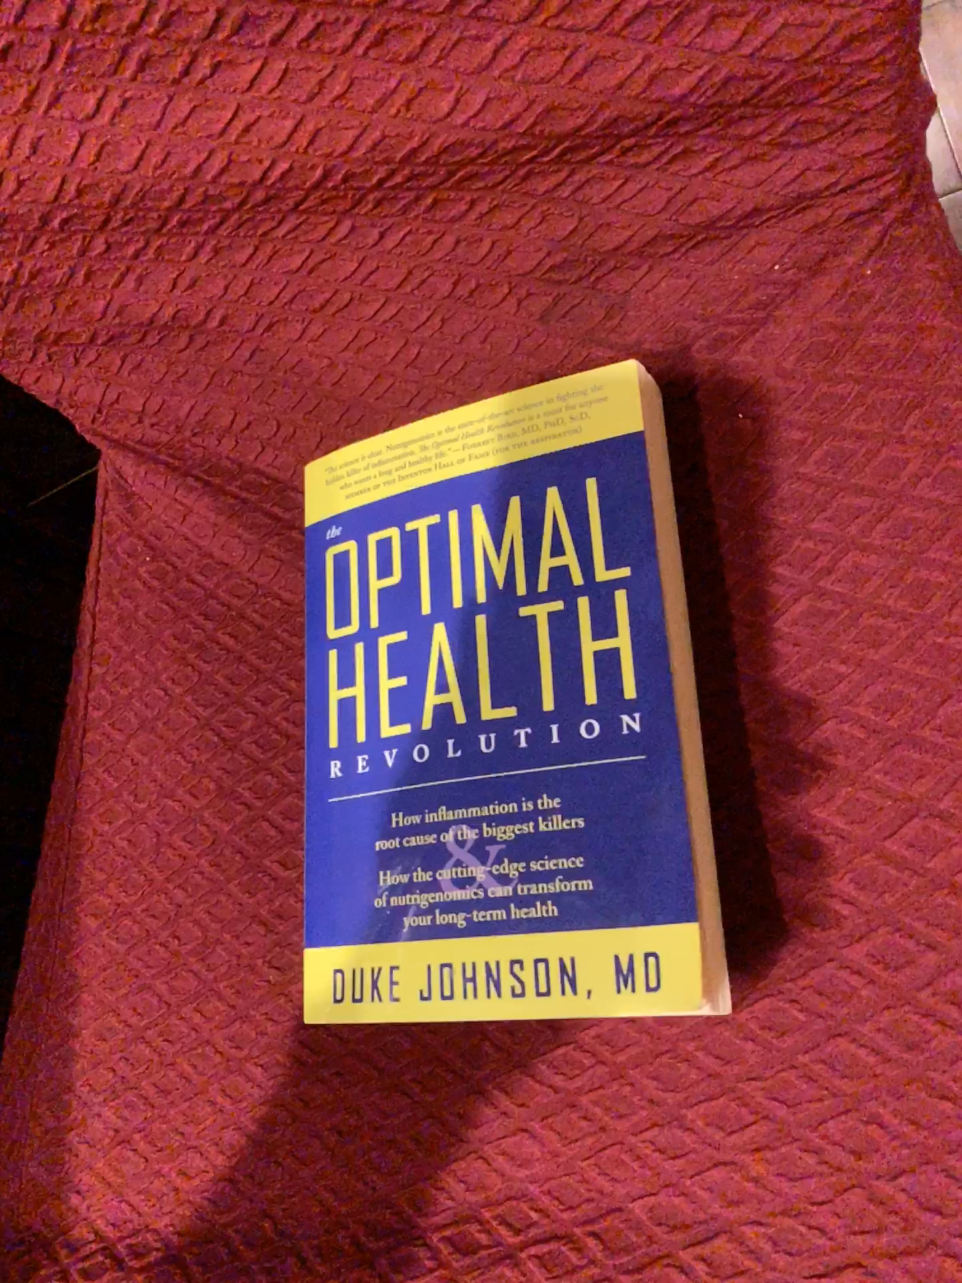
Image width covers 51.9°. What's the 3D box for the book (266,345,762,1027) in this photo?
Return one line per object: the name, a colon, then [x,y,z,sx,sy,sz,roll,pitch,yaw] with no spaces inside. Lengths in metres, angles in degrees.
book: [0.004,0.023,0.372,0.161,0.060,0.222,-11,72,25]
